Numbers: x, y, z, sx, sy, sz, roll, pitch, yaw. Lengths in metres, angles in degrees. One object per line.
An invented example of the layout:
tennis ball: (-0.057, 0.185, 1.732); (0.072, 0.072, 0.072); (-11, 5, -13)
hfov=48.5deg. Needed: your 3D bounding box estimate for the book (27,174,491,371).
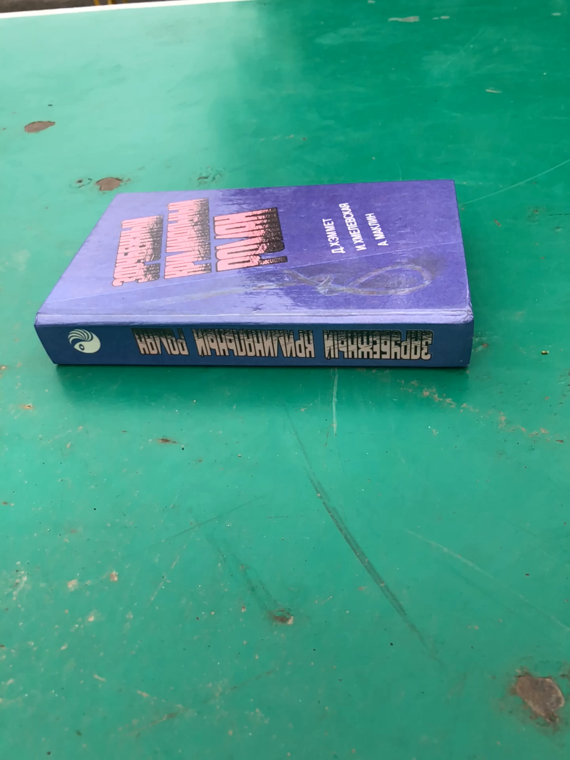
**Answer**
book: (-0.008, -0.062, 0.339); (0.208, 0.030, 0.137); (1, 42, 9)
